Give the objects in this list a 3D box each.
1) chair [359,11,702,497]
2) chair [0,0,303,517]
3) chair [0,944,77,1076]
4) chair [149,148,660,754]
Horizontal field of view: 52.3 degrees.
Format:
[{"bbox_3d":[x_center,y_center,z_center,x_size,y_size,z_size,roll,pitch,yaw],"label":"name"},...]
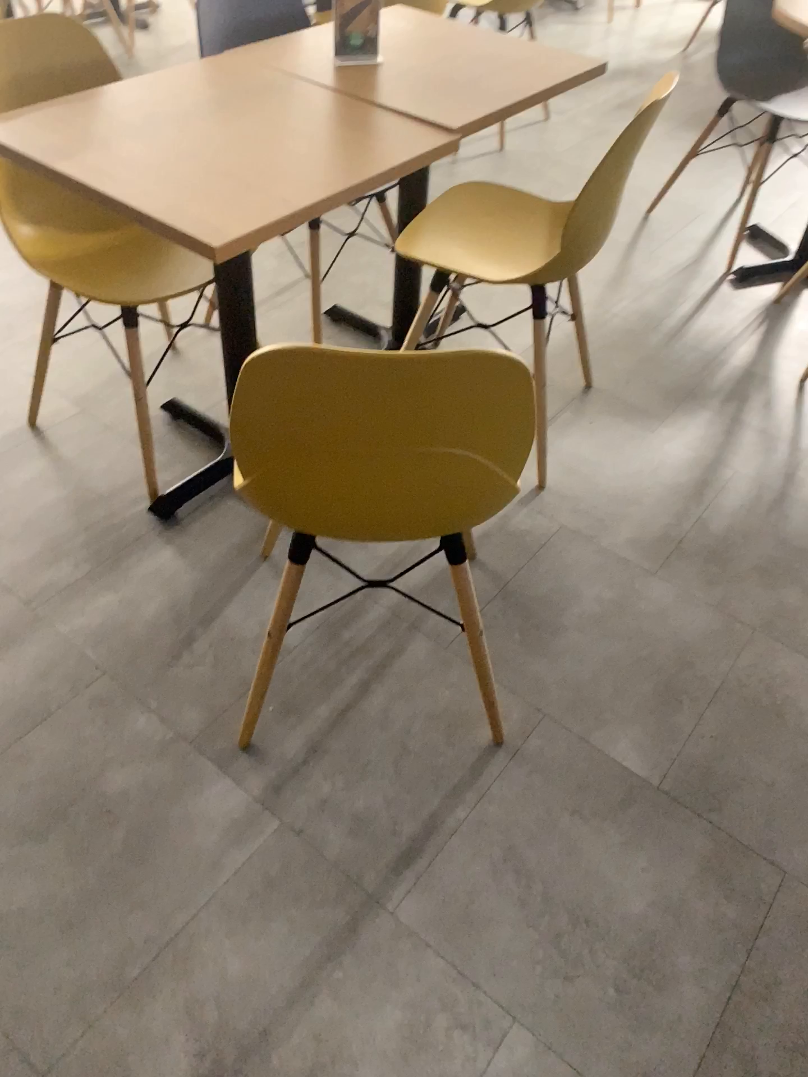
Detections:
[{"bbox_3d":[0.239,-0.606,1.790,0.492,0.776,0.501,20,47,15],"label":"chair"},{"bbox_3d":[-0.572,-0.566,1.679,0.493,0.776,0.500,29,50,22],"label":"chair"},{"bbox_3d":[-0.626,0.685,0.409,0.522,0.776,0.501,16,46,12],"label":"chair"},{"bbox_3d":[-0.028,-0.098,1.280,0.517,0.786,0.496,0,45,-5],"label":"chair"}]
